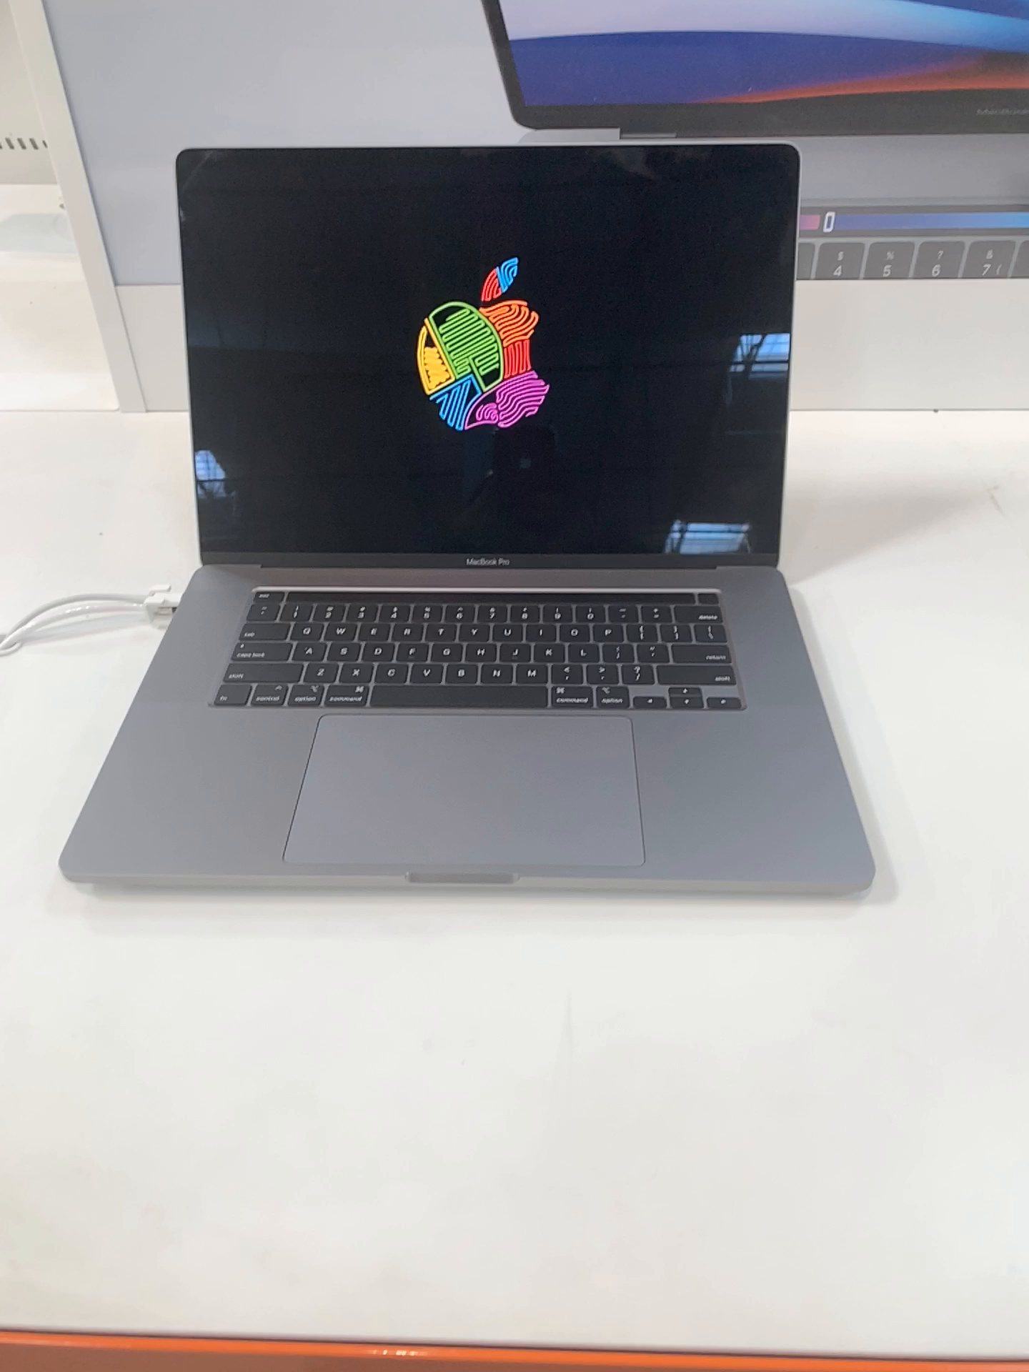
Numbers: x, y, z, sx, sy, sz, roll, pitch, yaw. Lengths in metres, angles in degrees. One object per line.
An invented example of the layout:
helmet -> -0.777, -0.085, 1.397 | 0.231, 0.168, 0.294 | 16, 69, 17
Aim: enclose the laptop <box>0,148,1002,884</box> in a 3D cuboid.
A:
laptop -> -0.019, -0.106, 0.512 | 0.341, 0.203, 0.347 | 0, 39, 2
